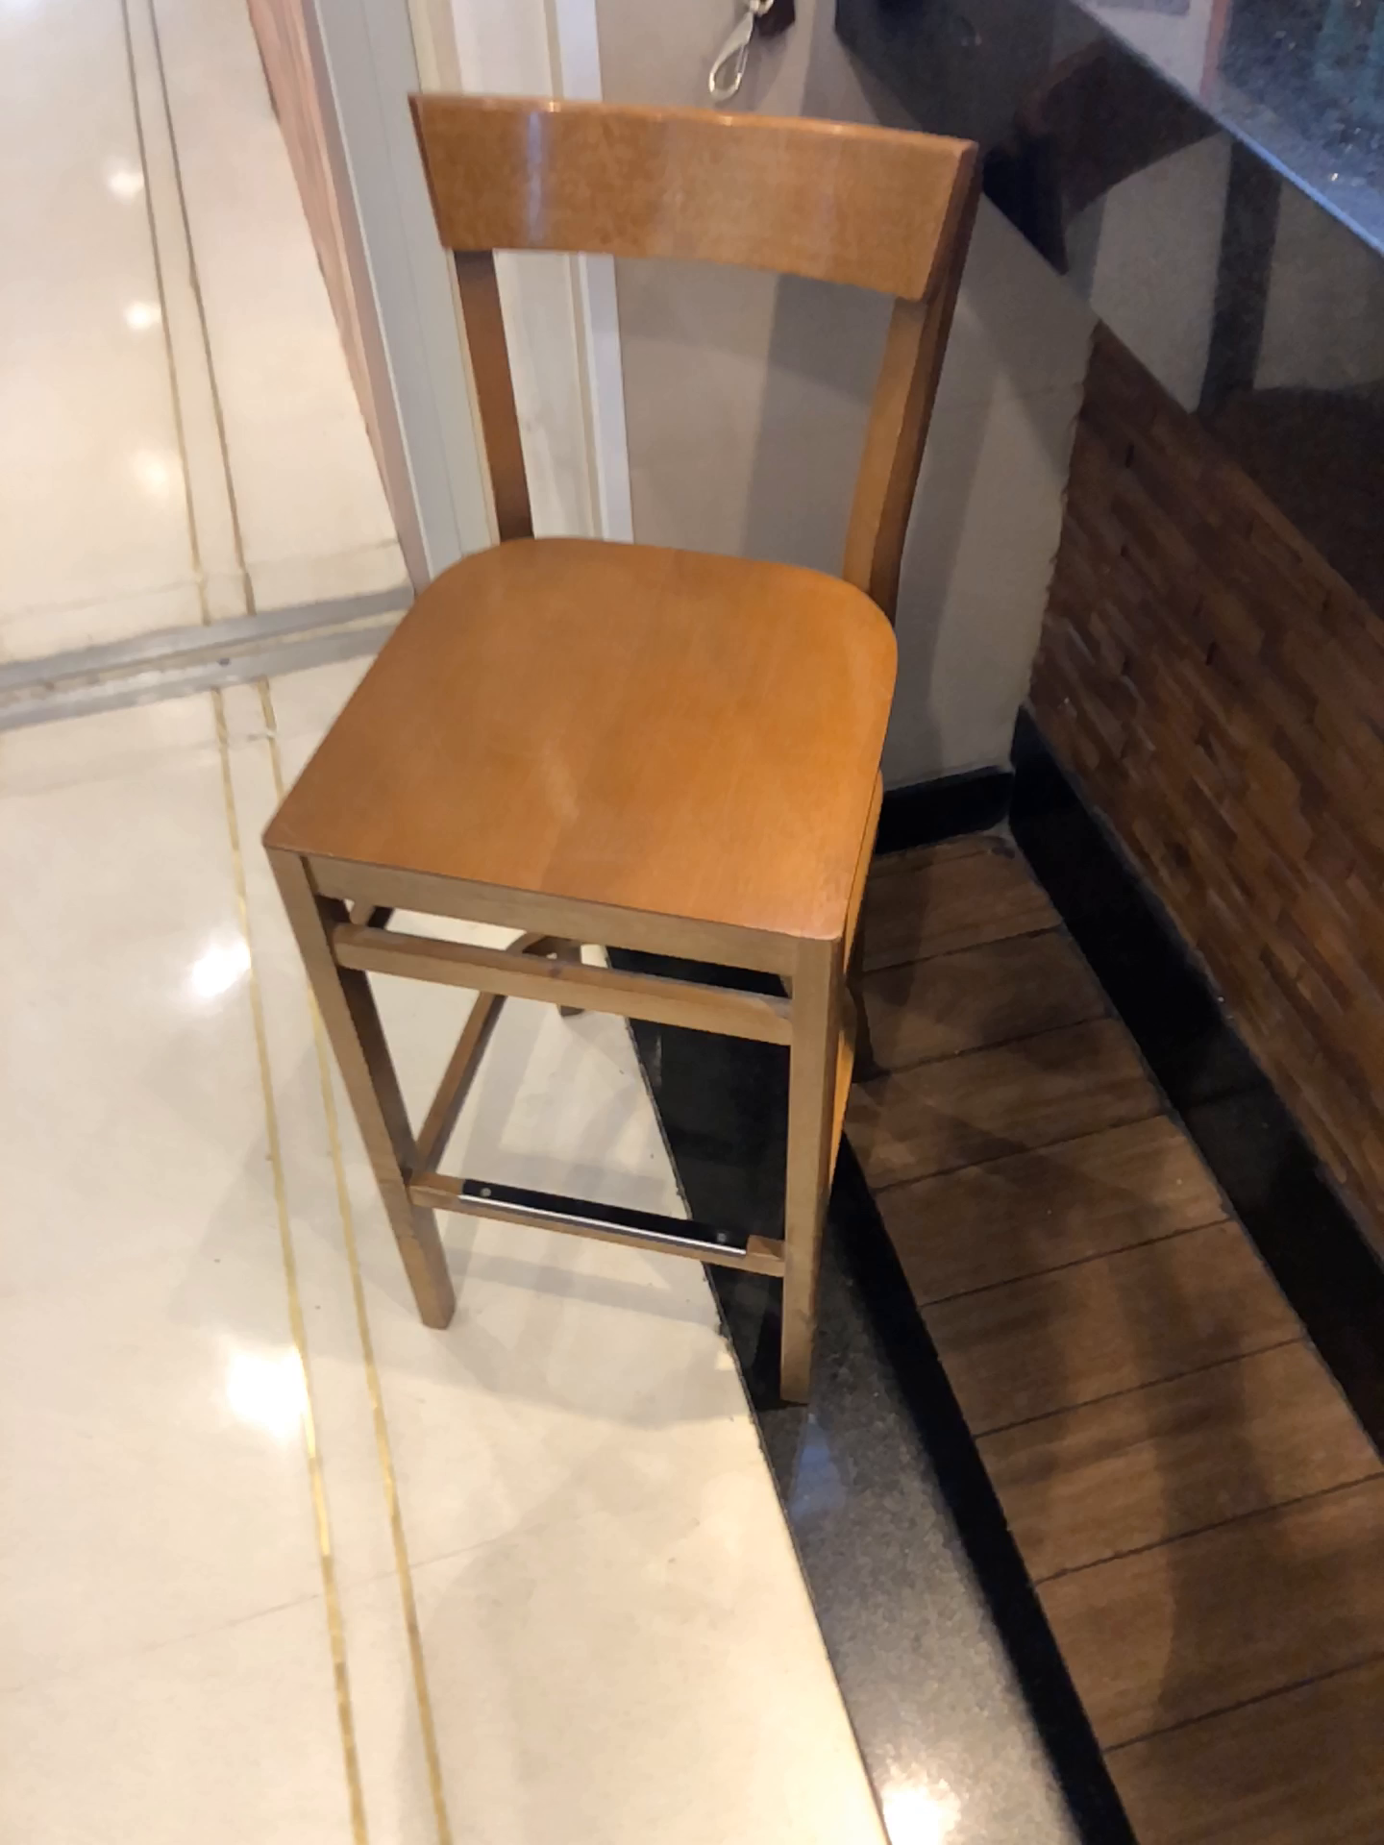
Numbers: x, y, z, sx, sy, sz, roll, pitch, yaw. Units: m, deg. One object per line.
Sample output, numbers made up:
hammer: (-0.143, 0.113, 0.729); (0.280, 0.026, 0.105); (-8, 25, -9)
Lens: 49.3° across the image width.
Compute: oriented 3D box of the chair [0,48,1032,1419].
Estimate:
chair: (-0.048, -0.078, 1.267); (0.480, 0.994, 0.533); (8, 51, 8)
